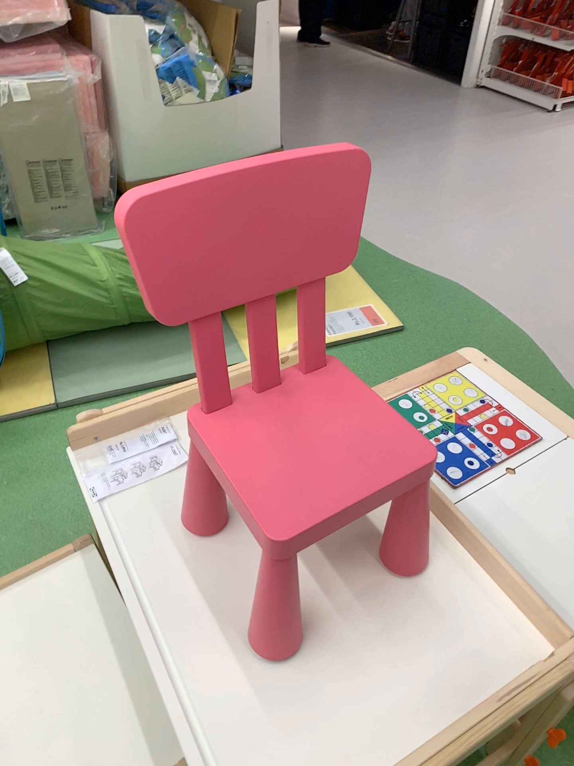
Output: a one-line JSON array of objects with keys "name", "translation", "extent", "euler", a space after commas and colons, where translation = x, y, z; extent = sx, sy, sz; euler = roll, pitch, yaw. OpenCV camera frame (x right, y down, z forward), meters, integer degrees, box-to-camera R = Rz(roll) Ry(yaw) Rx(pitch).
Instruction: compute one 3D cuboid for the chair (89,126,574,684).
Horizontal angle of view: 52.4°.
[{"name": "chair", "translation": [0.038, 0.025, 0.855], "extent": [0.420, 0.597, 0.401], "euler": [-21, 46, -24]}]
